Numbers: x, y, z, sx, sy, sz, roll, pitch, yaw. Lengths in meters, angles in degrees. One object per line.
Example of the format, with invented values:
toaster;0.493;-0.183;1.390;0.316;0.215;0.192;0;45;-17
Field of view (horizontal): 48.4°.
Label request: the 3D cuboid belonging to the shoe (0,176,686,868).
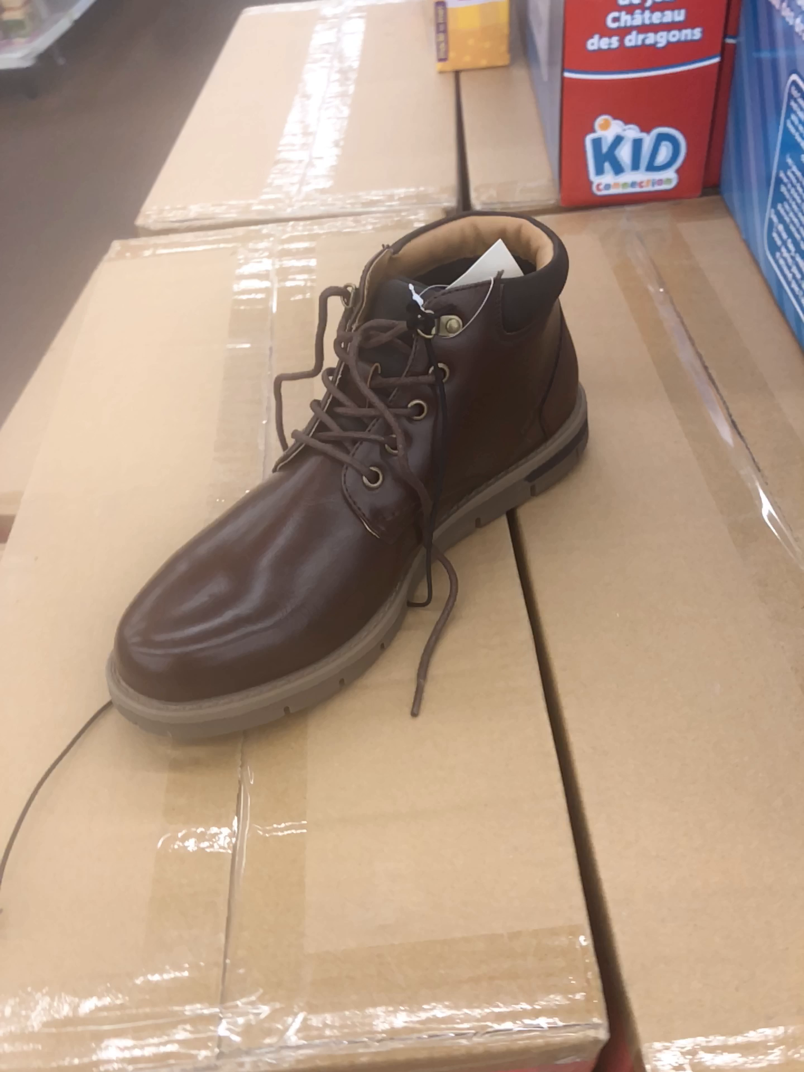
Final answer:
shoe;-0.011;-0.023;0.420;0.120;0.159;0.290;33;57;32
